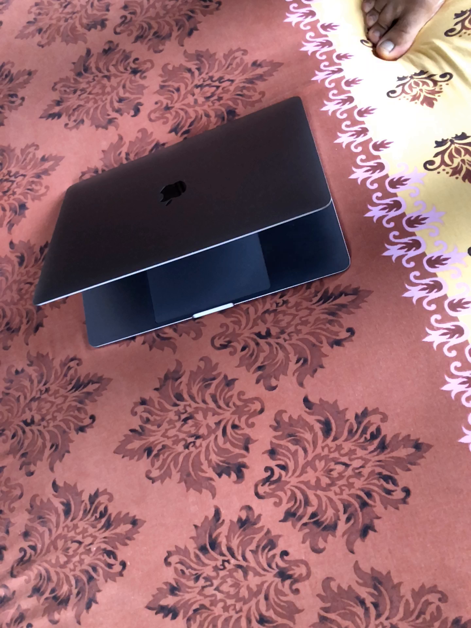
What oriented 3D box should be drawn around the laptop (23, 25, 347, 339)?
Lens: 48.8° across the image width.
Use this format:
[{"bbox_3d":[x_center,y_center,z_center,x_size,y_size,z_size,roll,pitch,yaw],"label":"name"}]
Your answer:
[{"bbox_3d":[-0.059,-0.118,0.519,0.286,0.093,0.204,-16,71,15],"label":"laptop"}]
